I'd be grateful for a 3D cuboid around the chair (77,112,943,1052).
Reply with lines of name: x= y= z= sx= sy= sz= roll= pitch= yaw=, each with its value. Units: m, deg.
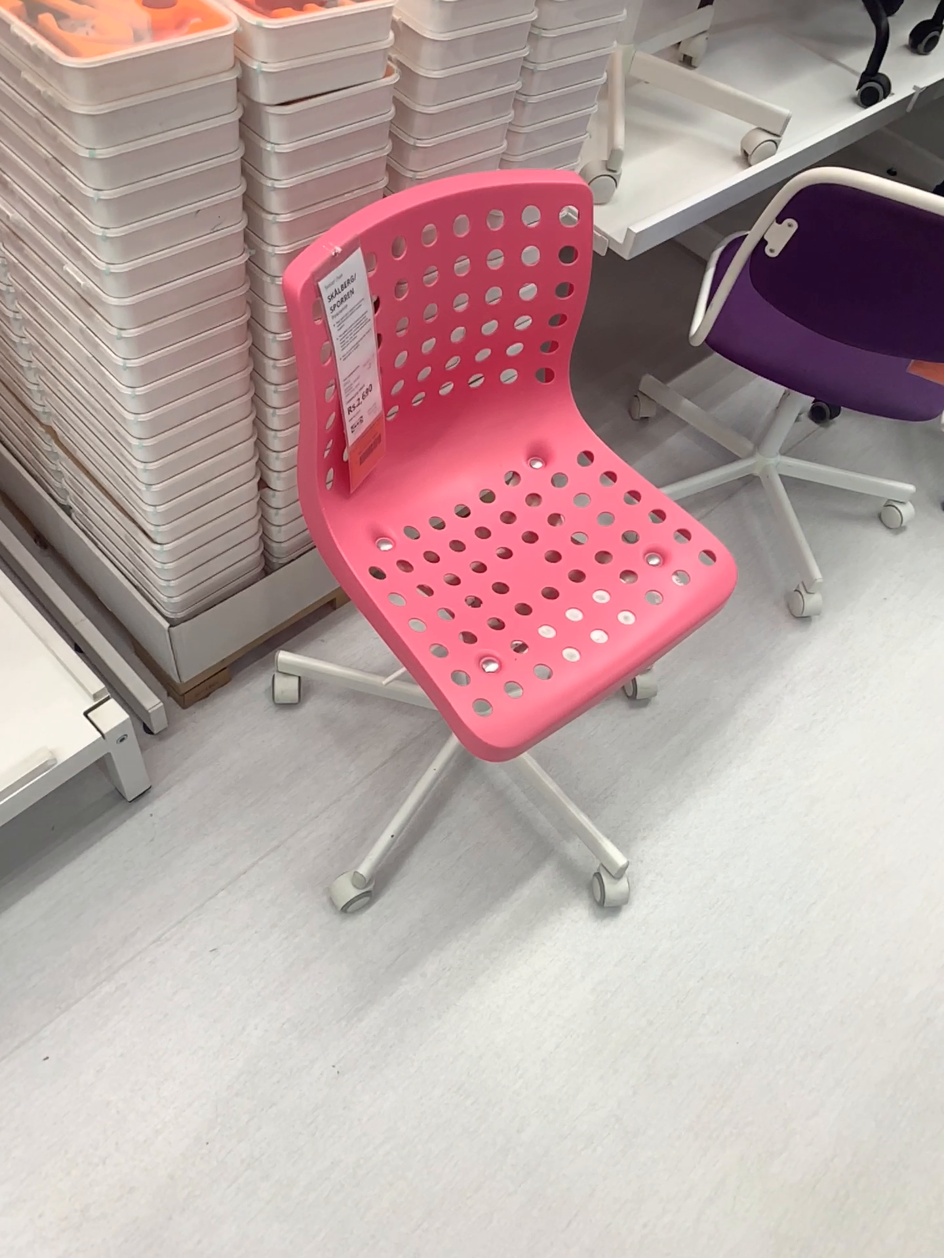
chair: x=0.065 y=-0.059 z=1.199 sx=0.671 sy=0.688 sz=0.691 roll=-34 pitch=66 yaw=-28
